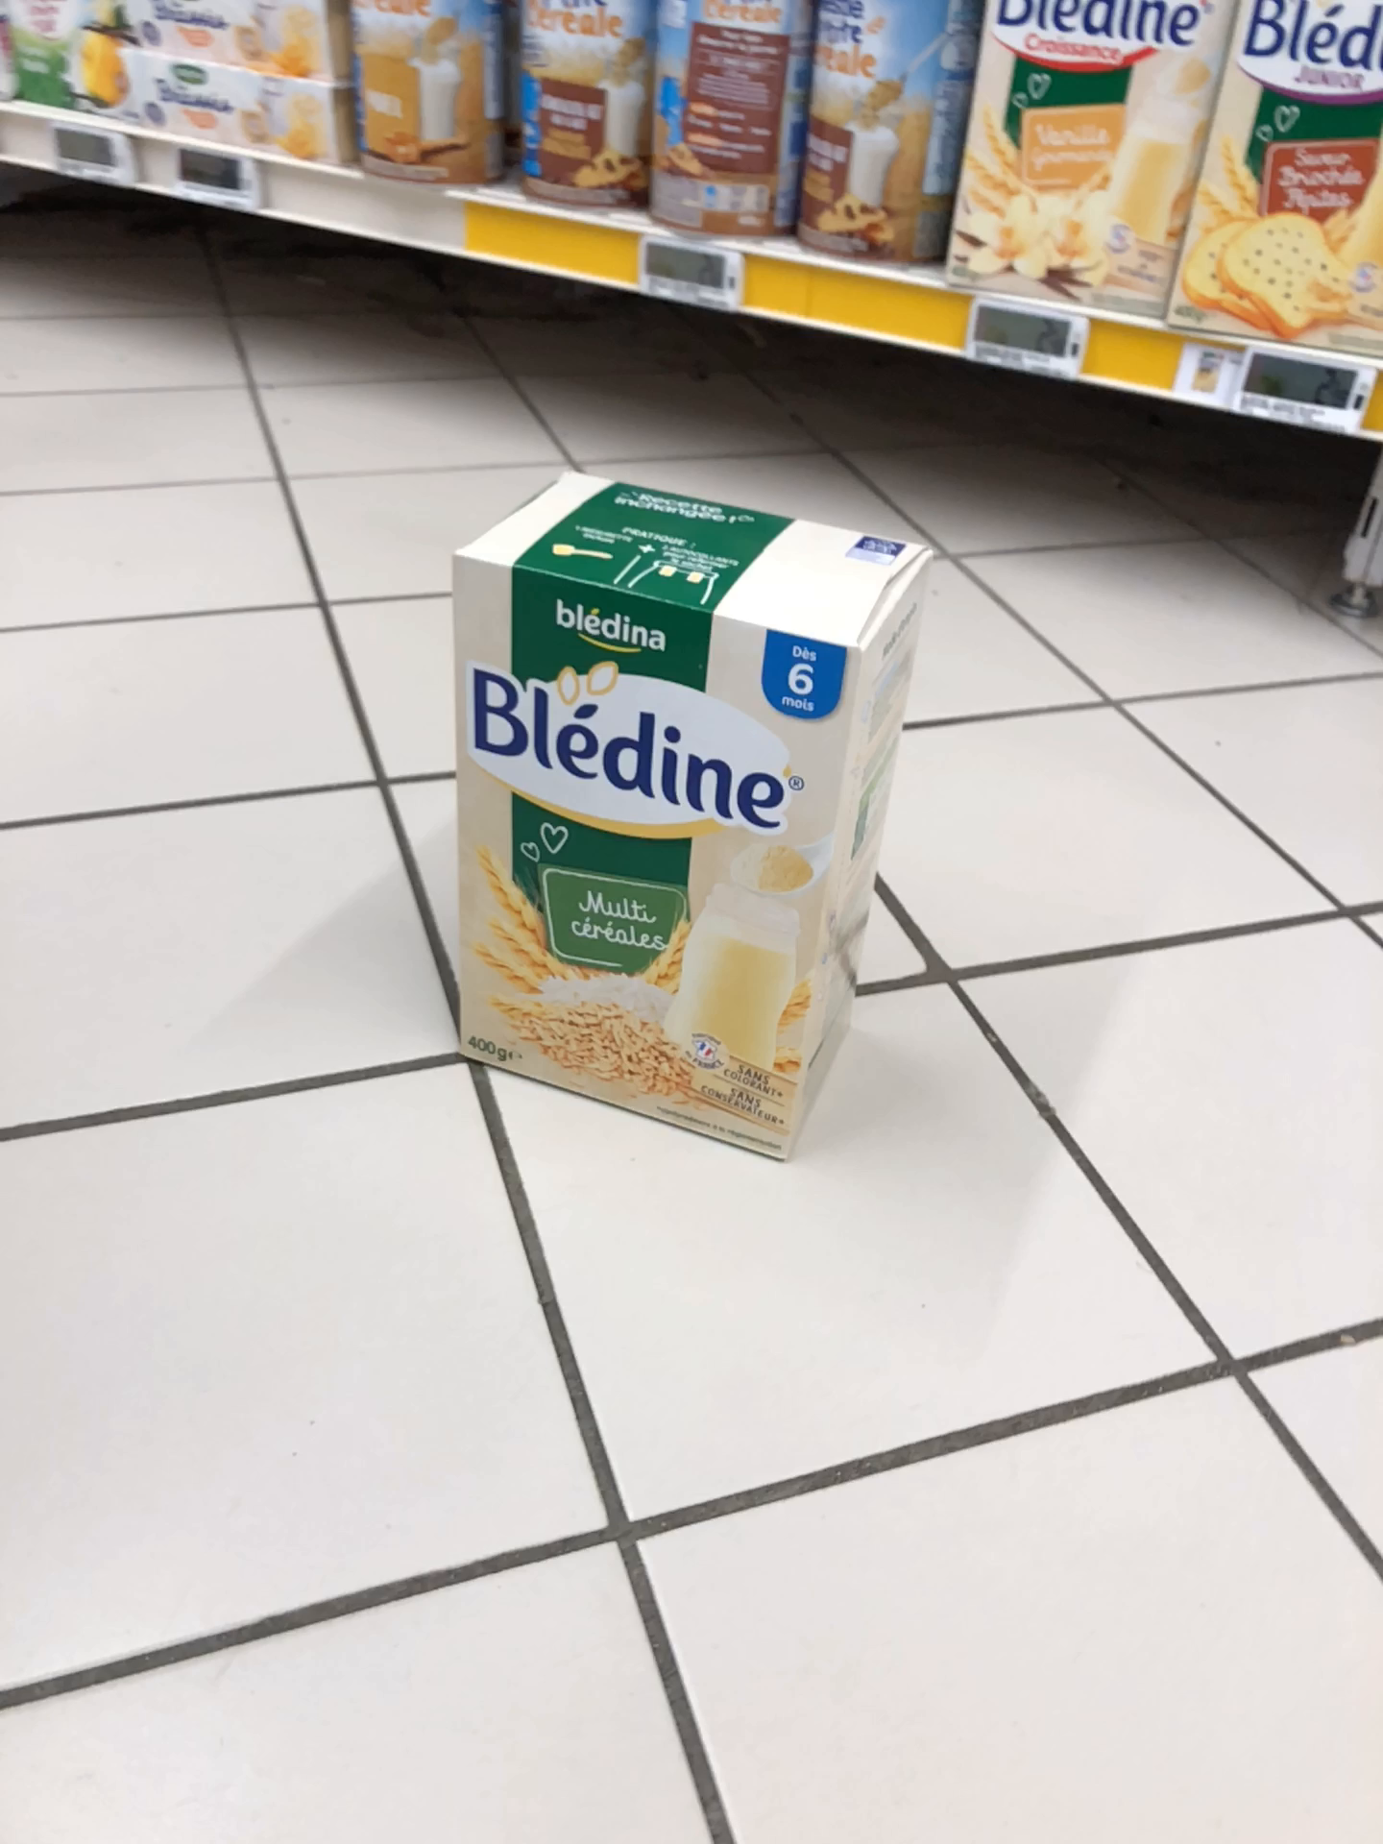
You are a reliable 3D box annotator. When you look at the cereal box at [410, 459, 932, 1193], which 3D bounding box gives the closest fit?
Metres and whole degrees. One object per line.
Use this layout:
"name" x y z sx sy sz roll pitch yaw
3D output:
"cereal box" -0.010 -0.031 0.508 0.130 0.199 0.091 16 37 15
